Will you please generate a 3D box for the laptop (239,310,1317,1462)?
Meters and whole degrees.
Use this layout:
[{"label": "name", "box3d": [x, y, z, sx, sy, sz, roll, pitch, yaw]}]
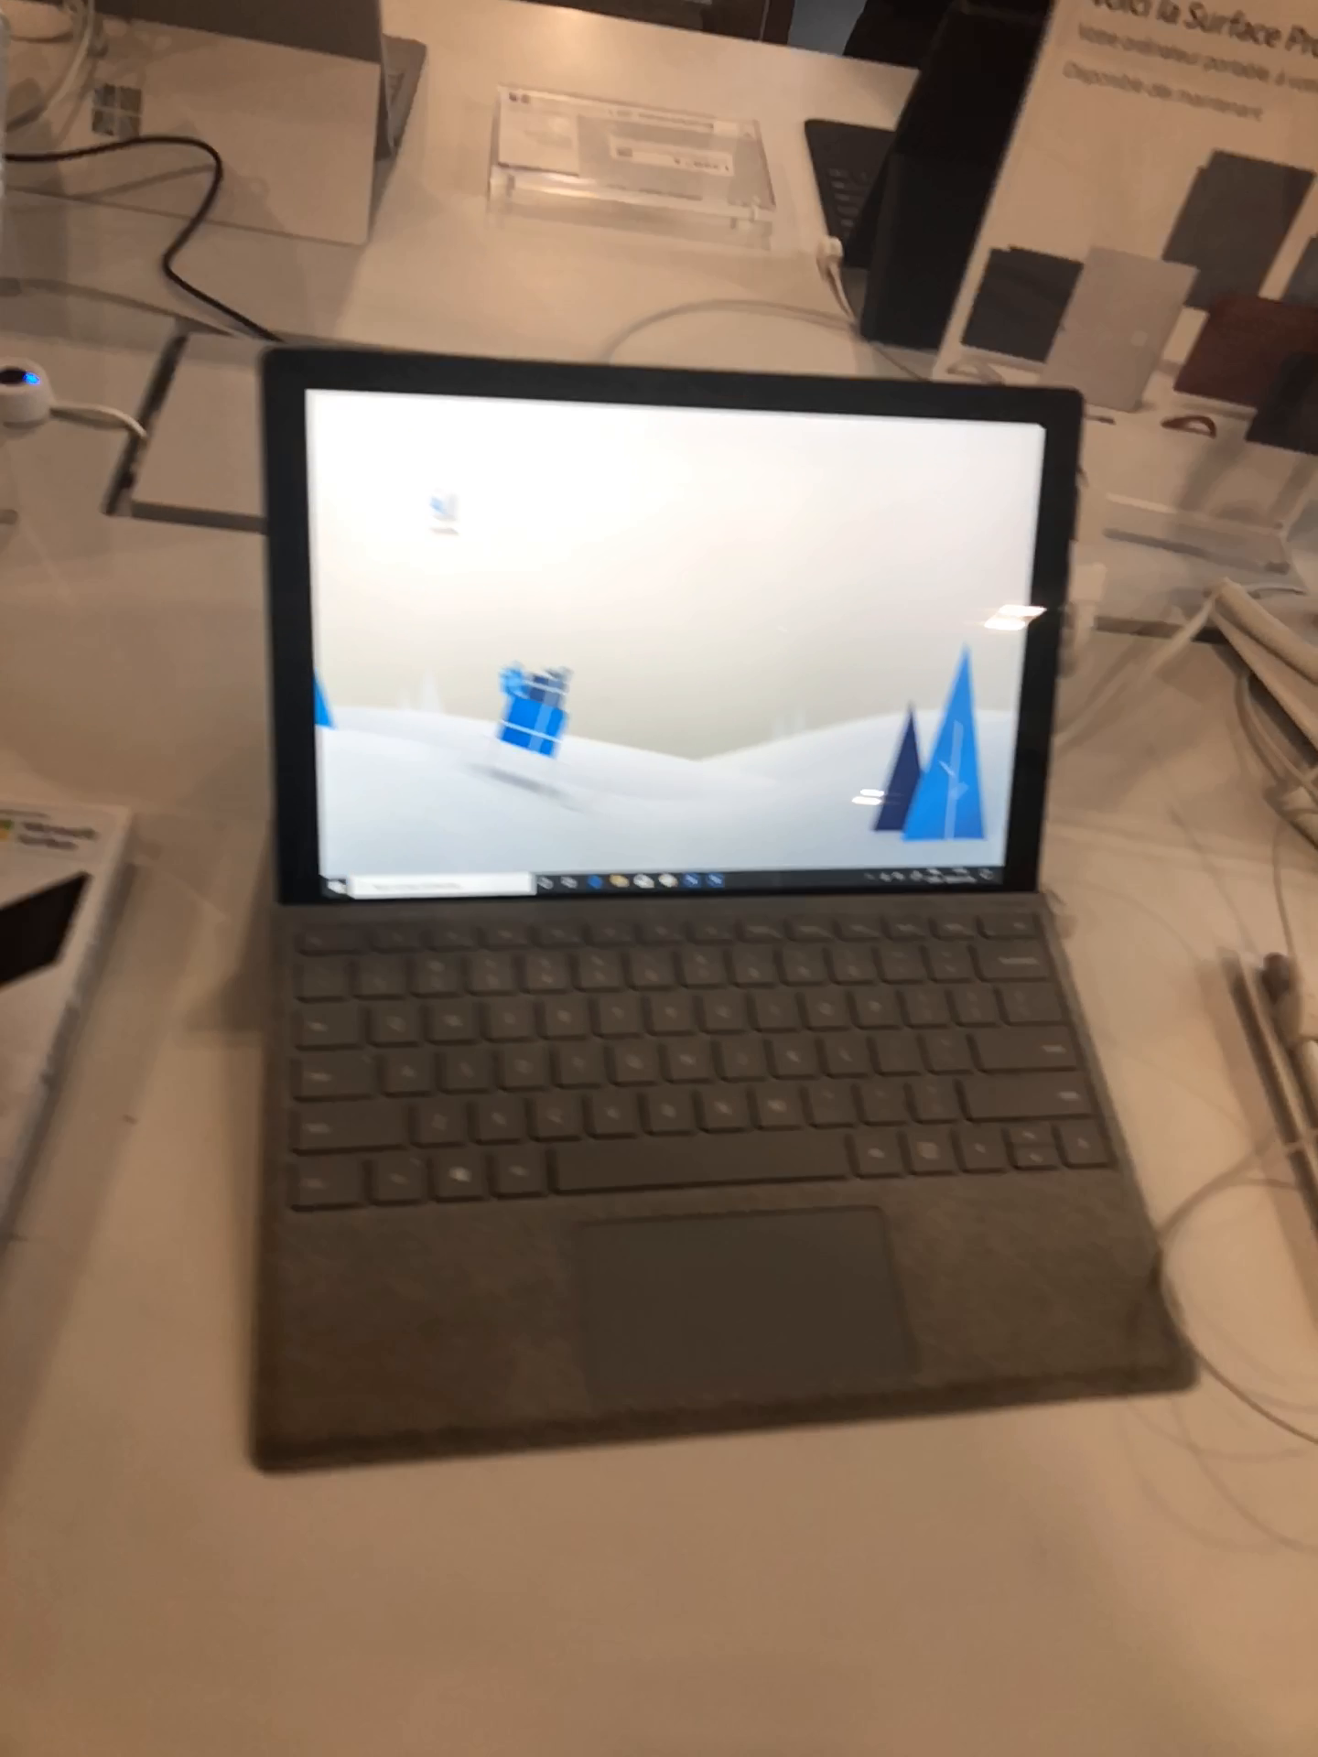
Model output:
[{"label": "laptop", "box3d": [0.022, -0.011, 0.465, 0.285, 0.150, 0.308, 0, 53, -13]}]
